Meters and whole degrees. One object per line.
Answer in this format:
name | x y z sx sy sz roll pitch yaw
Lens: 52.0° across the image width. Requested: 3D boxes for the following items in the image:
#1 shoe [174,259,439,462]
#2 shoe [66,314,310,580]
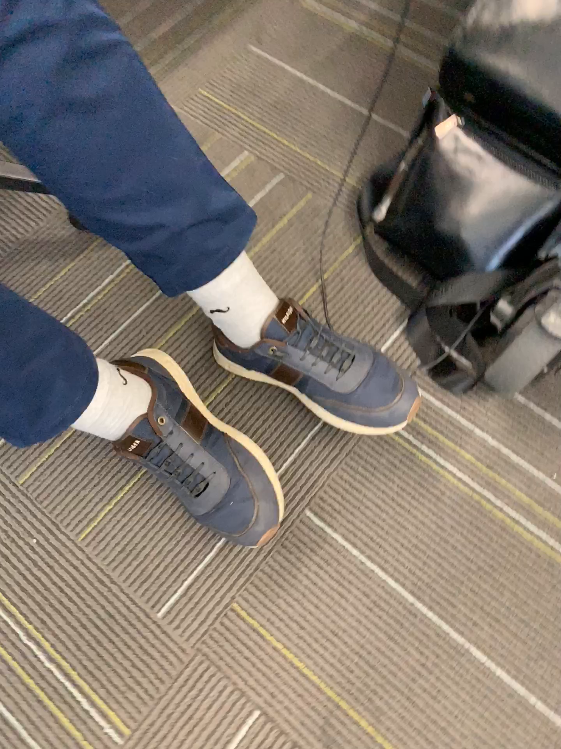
shoe | 0.031 -0.026 0.720 0.300 0.100 0.120 25 69 27
shoe | -0.125 0.077 0.705 0.120 0.100 0.320 -51 58 12
